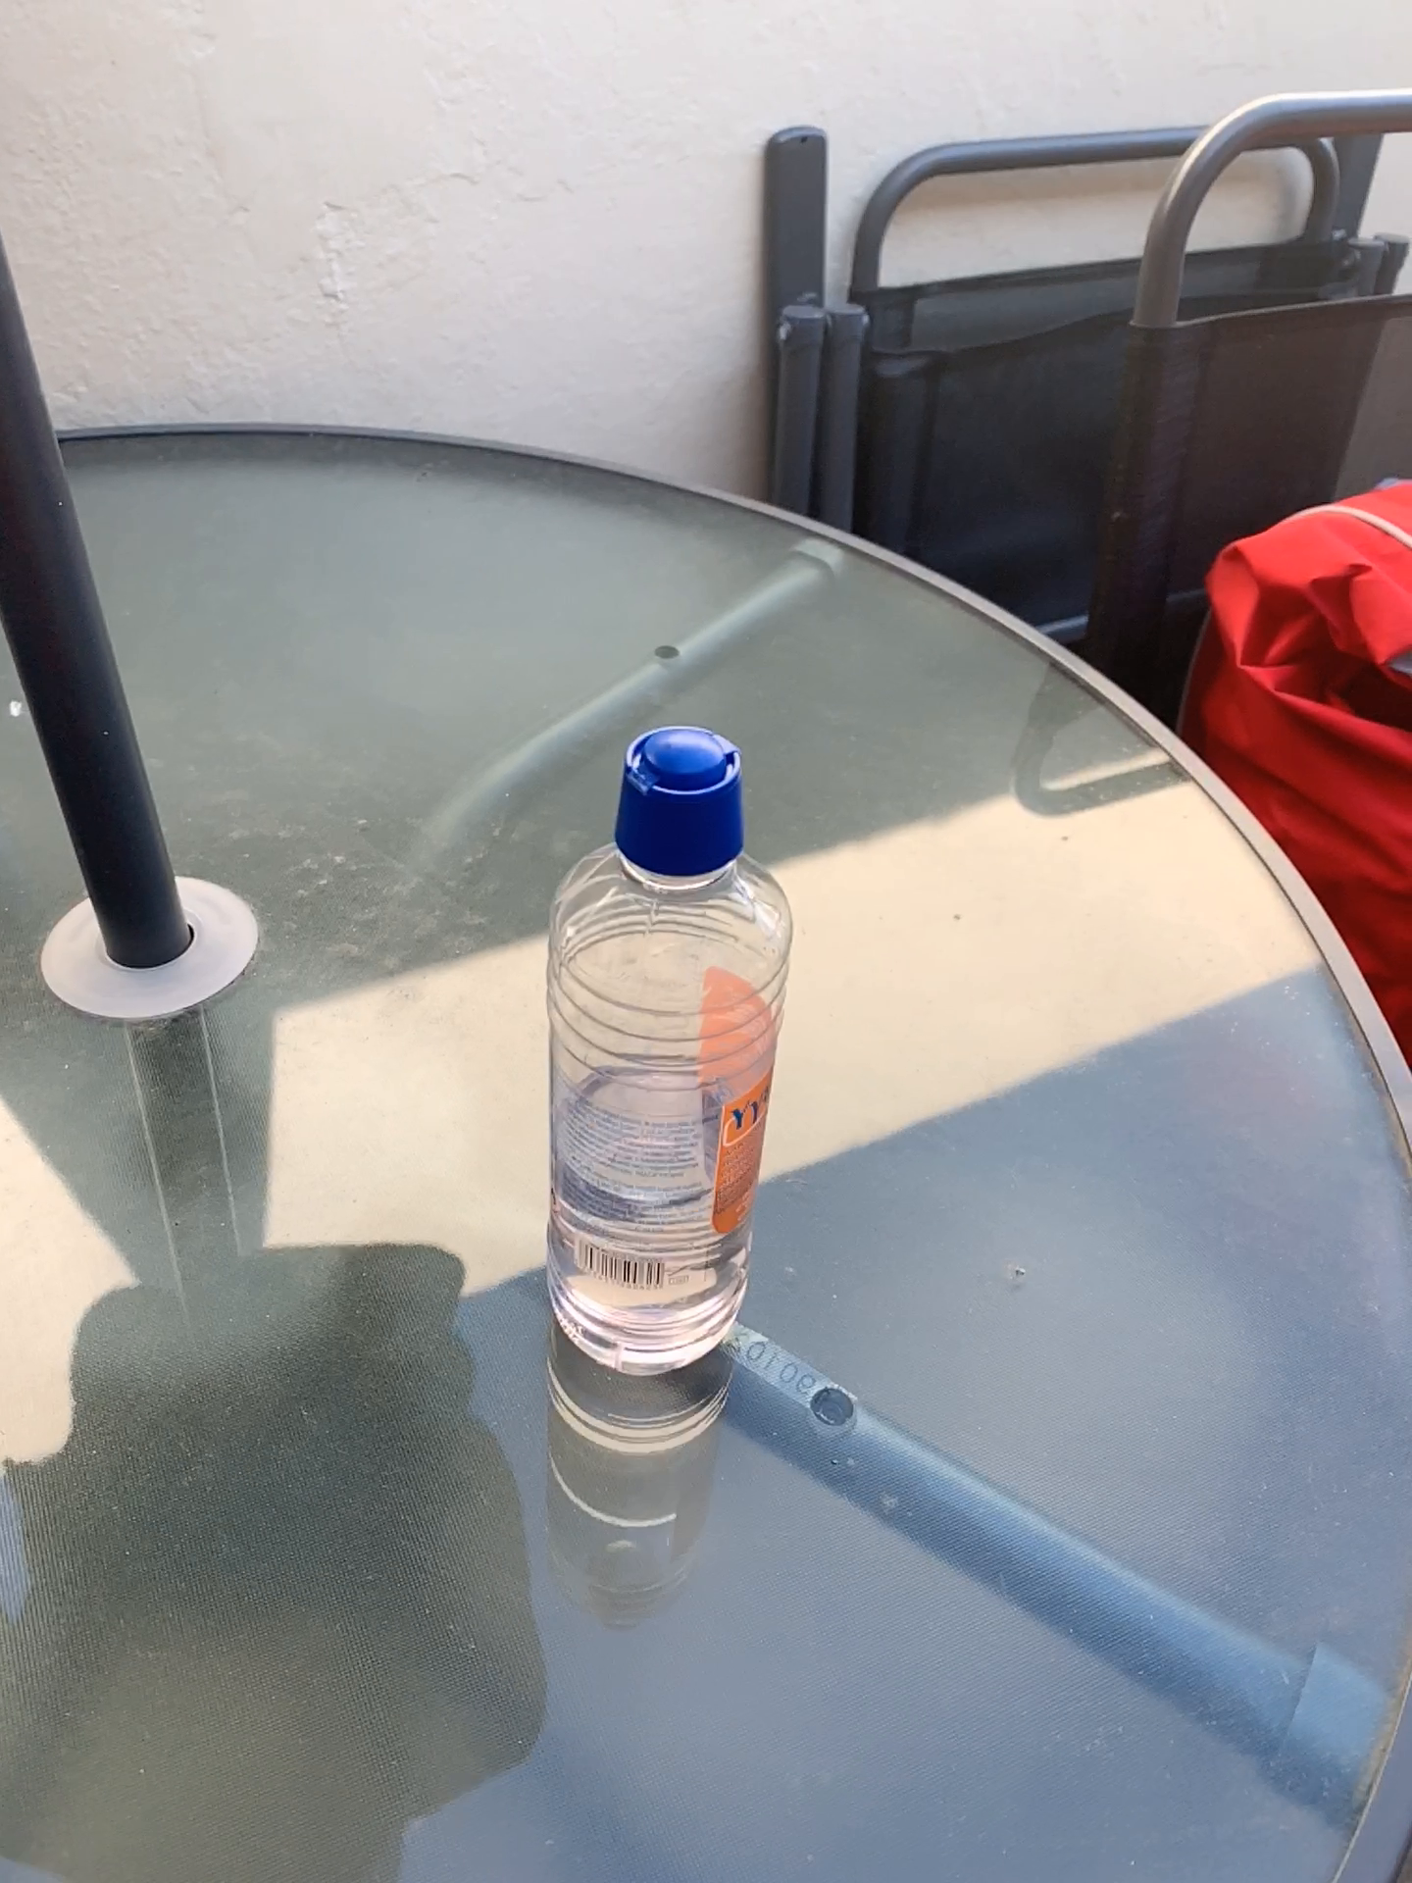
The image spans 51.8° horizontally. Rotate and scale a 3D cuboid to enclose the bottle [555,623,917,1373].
[{"bbox_3d":[0.003,0.019,0.314,0.060,0.158,0.061,2,40,-2],"label":"bottle"}]
